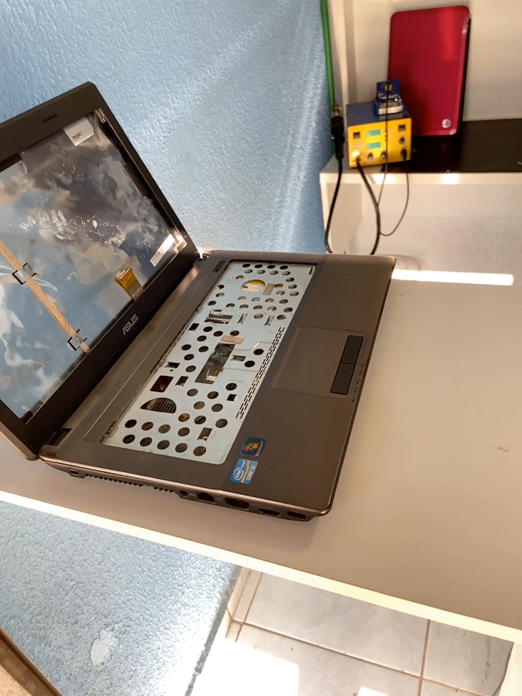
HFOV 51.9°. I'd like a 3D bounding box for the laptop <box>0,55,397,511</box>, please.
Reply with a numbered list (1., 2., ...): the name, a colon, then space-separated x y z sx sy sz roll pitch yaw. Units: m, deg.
1. laptop: -0.073 -0.090 0.468 0.327 0.202 0.338 5 39 20
